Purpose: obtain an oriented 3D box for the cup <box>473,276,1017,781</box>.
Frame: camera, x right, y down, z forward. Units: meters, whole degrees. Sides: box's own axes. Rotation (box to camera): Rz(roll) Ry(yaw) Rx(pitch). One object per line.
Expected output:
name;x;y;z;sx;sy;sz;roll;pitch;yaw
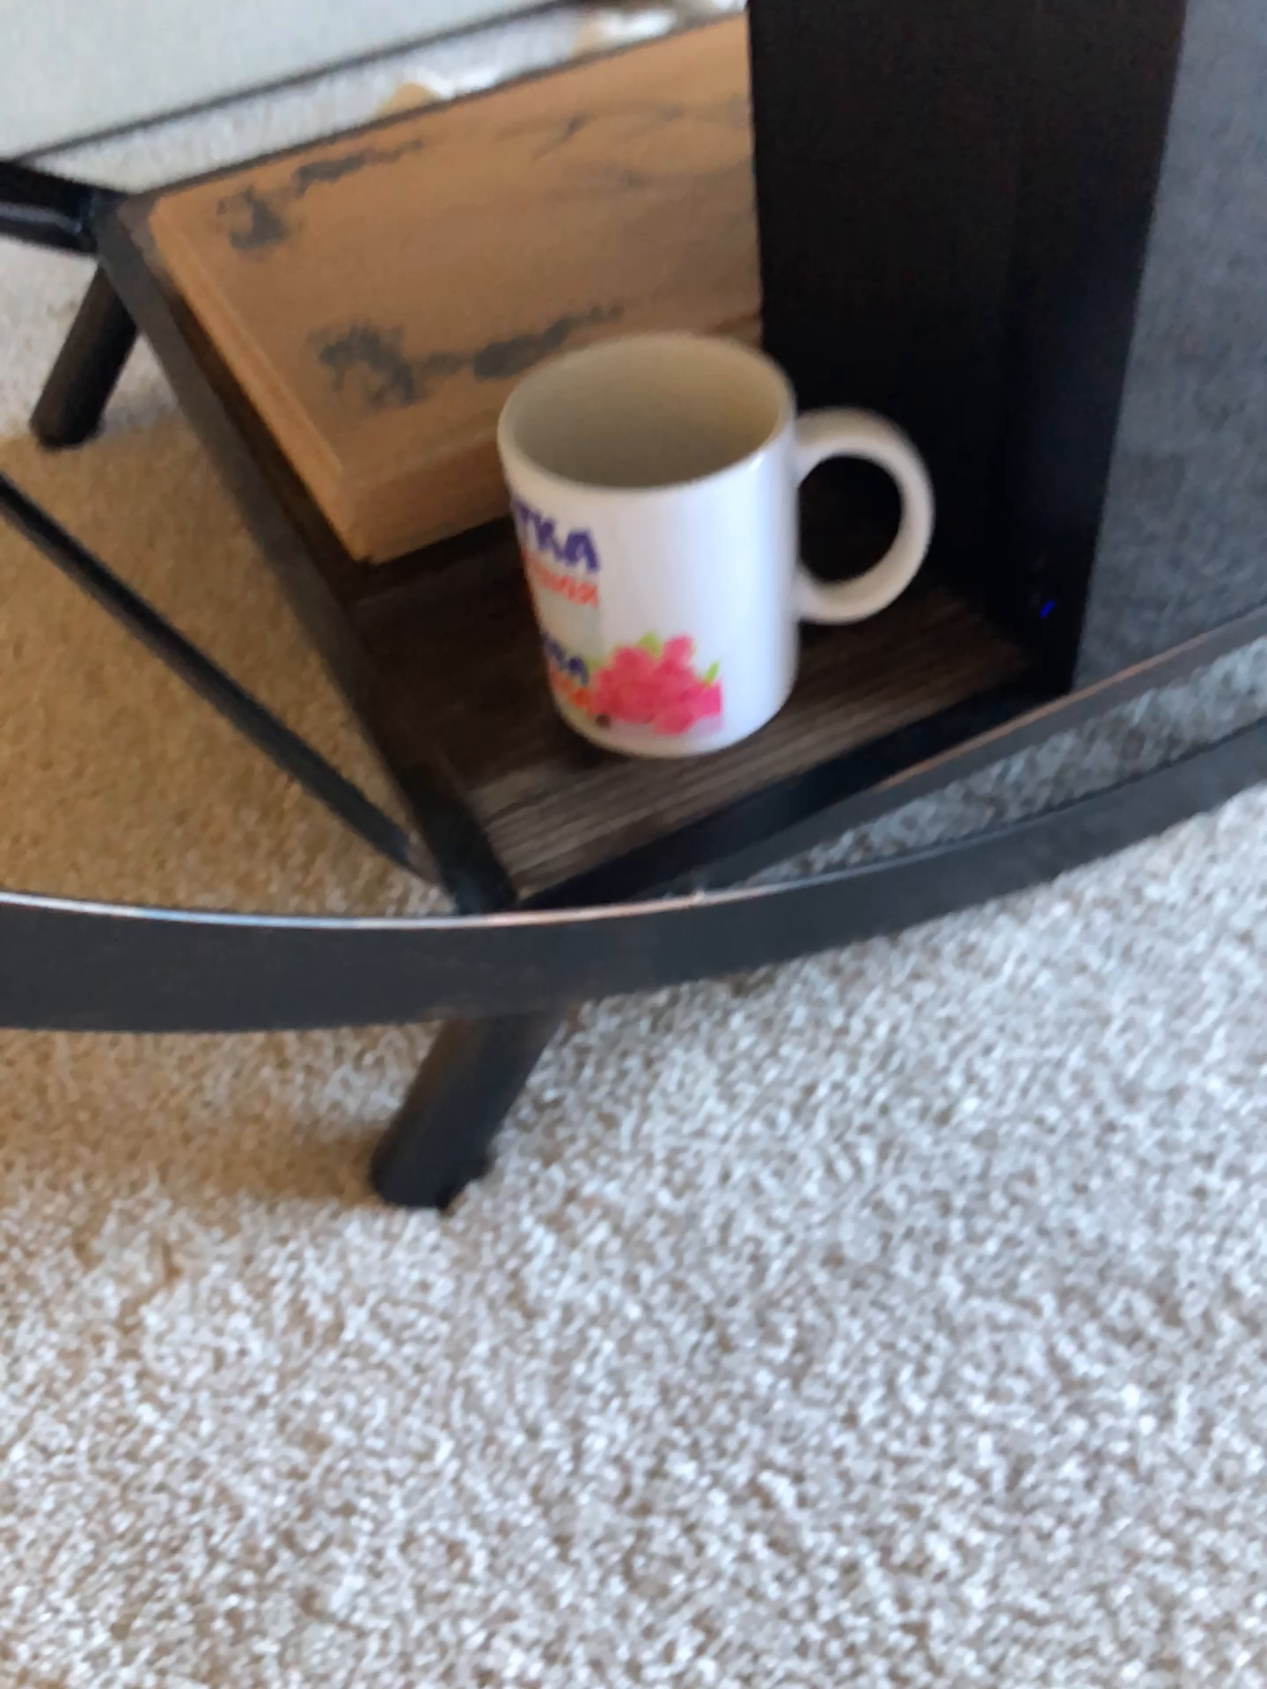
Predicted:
cup;0.030;-0.094;0.433;0.140;0.100;0.090;-7;49;2
